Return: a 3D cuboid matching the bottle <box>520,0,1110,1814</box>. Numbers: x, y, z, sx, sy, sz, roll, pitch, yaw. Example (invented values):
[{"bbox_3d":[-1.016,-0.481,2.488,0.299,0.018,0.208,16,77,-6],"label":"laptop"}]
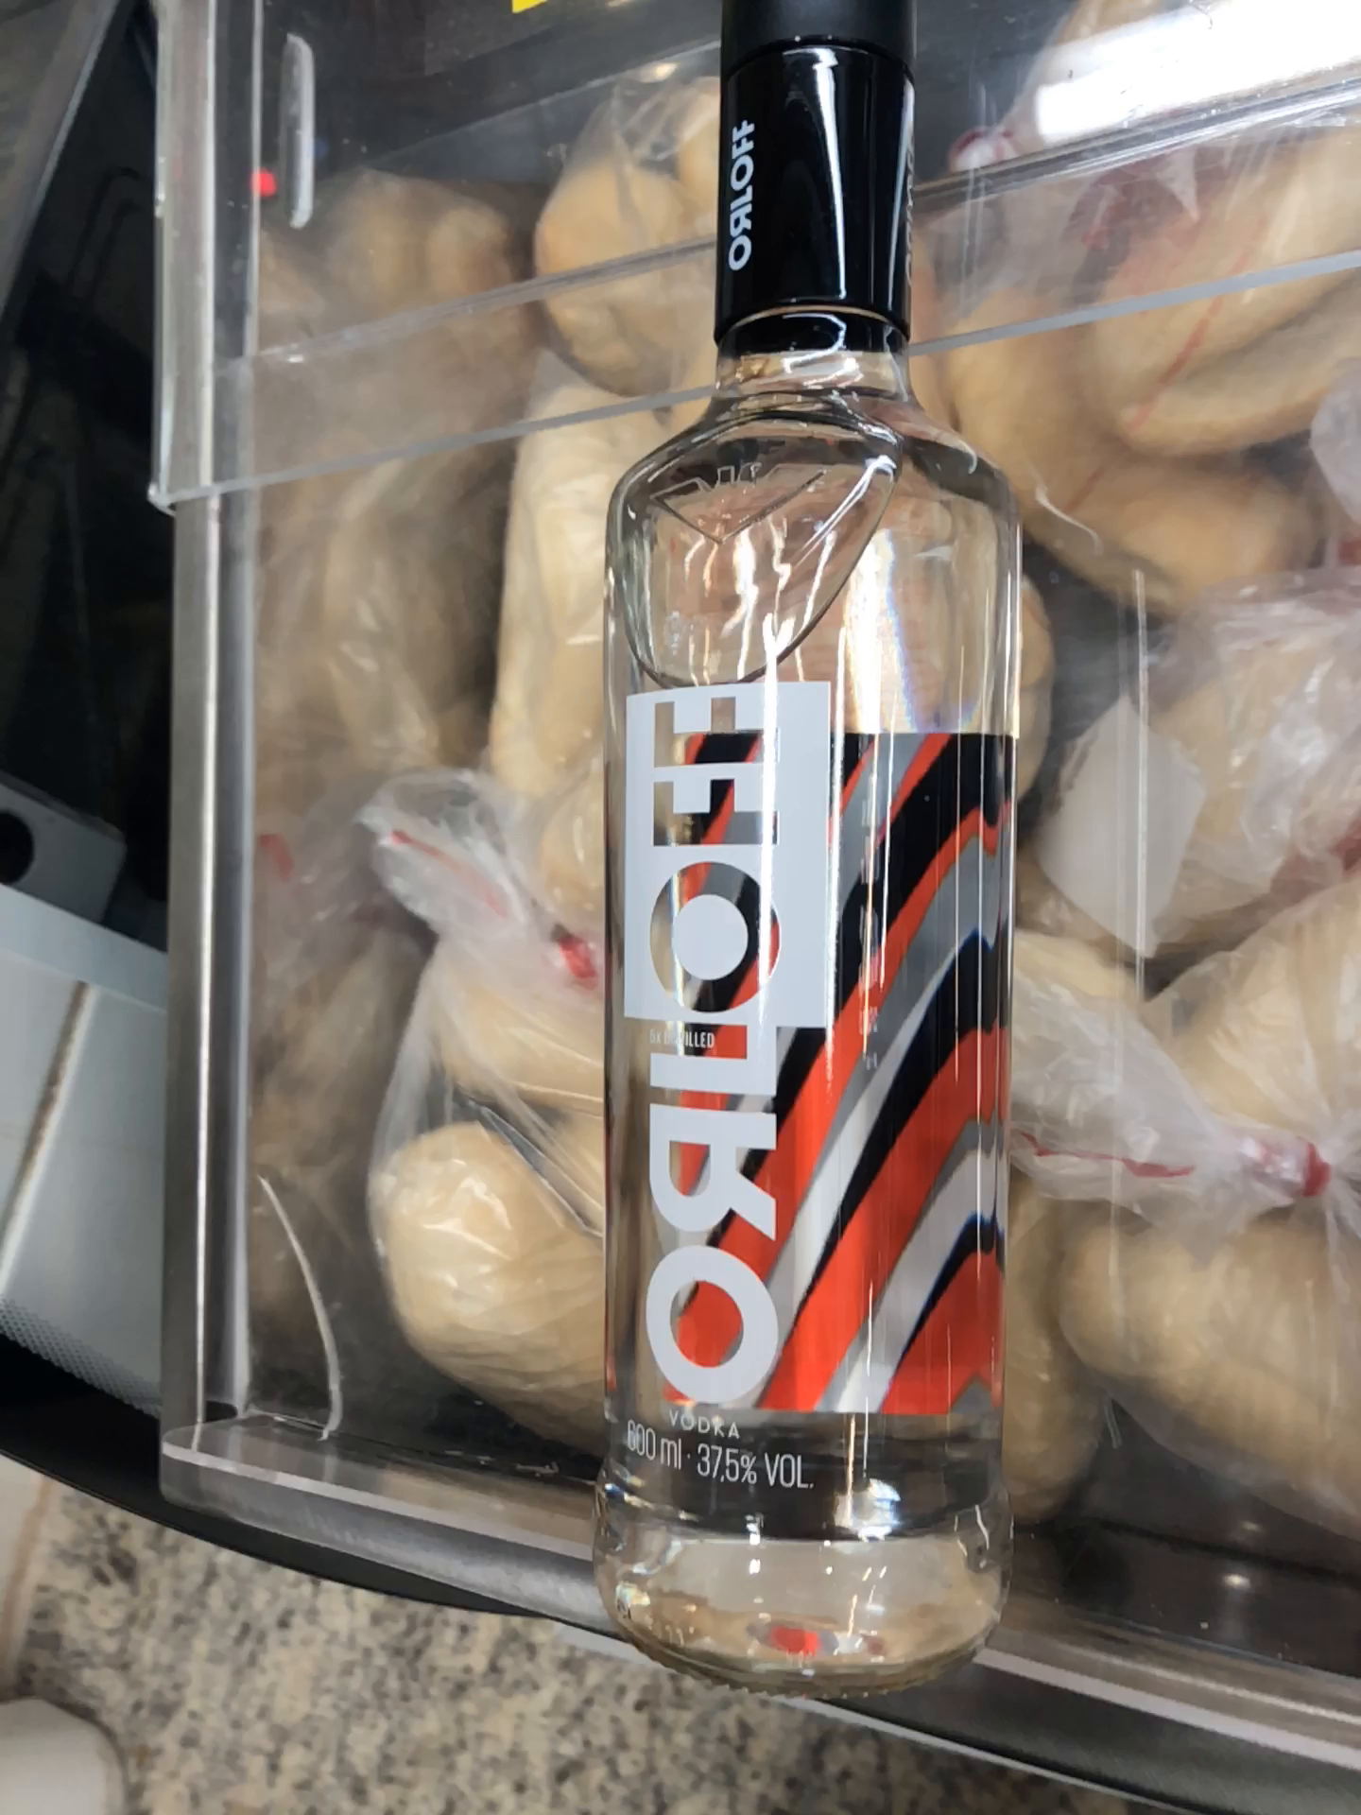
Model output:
[{"bbox_3d":[0.025,-0.023,0.261,0.070,0.070,0.300,1,90,32],"label":"bottle"}]
